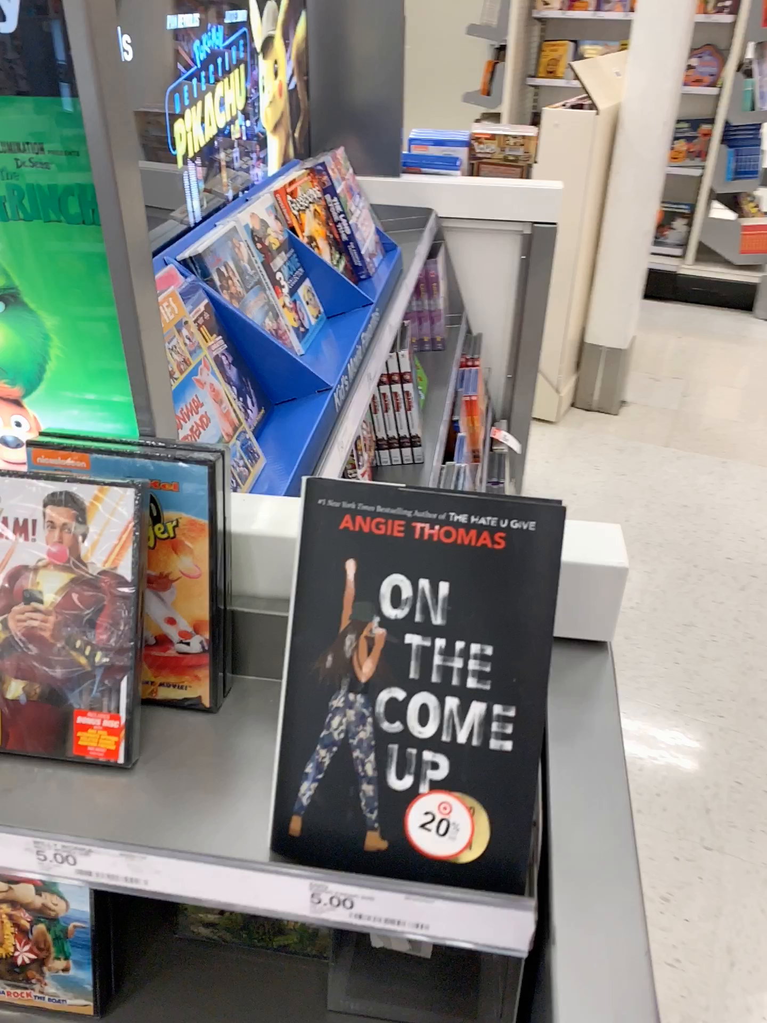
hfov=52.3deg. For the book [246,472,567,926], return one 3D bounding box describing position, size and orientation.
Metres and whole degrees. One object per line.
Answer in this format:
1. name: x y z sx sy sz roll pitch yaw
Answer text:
1. book: 0.013 0.096 0.439 0.149 0.222 0.056 6 4 8
